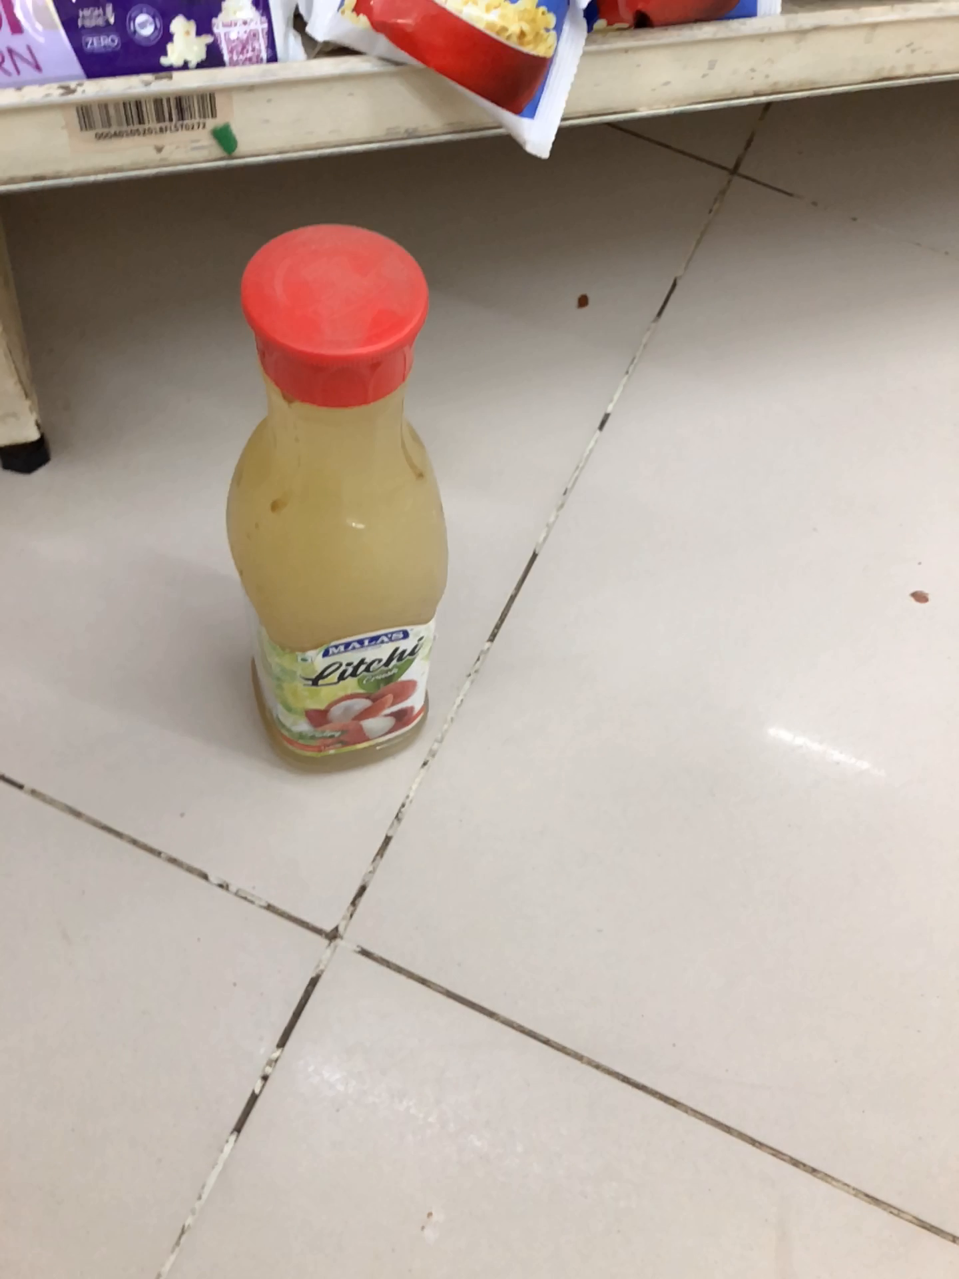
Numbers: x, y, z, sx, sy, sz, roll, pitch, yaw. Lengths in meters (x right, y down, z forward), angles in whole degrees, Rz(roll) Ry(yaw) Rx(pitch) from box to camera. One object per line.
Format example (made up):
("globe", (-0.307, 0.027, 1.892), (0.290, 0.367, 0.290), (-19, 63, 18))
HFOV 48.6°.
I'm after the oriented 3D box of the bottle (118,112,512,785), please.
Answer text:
("bottle", (-0.064, -0.046, 0.425), (0.090, 0.289, 0.090), (3, 61, -6))
